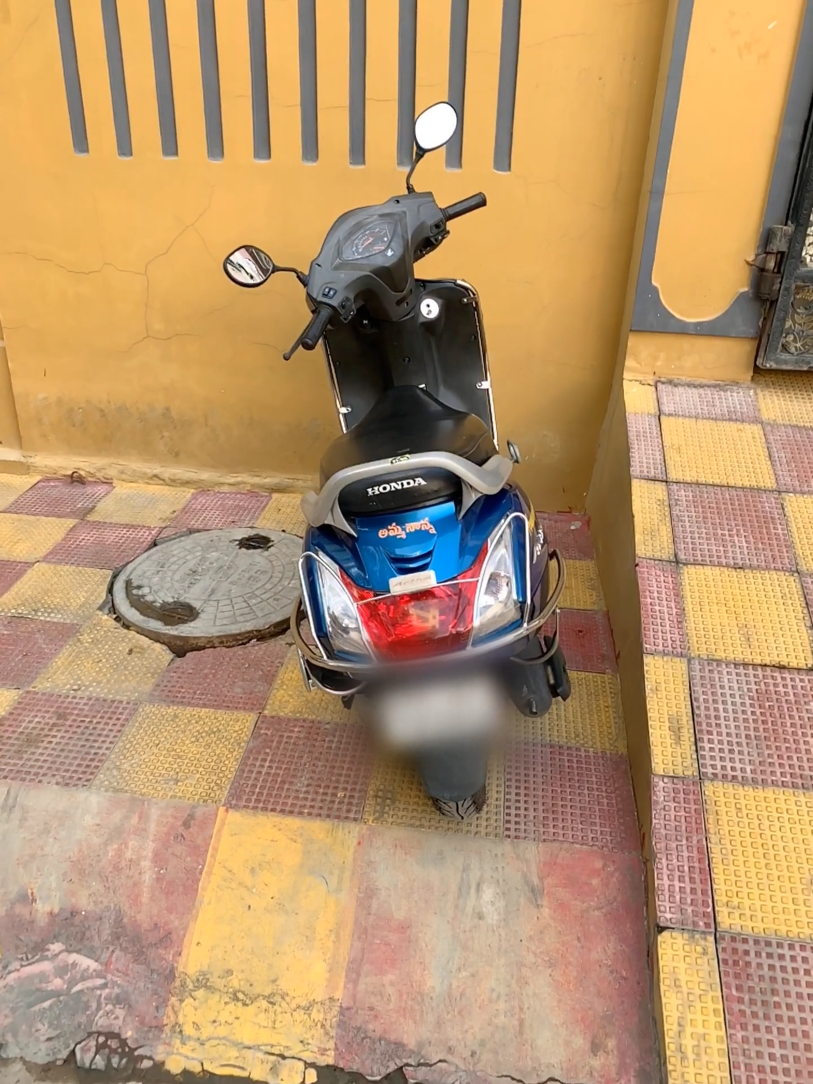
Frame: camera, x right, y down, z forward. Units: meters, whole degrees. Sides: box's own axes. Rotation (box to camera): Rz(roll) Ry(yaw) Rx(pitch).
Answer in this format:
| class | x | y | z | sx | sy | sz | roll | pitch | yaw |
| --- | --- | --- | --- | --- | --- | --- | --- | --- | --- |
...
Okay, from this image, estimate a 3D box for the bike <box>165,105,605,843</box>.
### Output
| class | x | y | z | sx | sy | sz | roll | pitch | yaw |
| --- | --- | --- | --- | --- | --- | --- | --- | --- | --- |
| bike | -0.131 | -0.340 | 2.004 | 0.596 | 1.098 | 1.534 | -1 | 31 | -6 |
